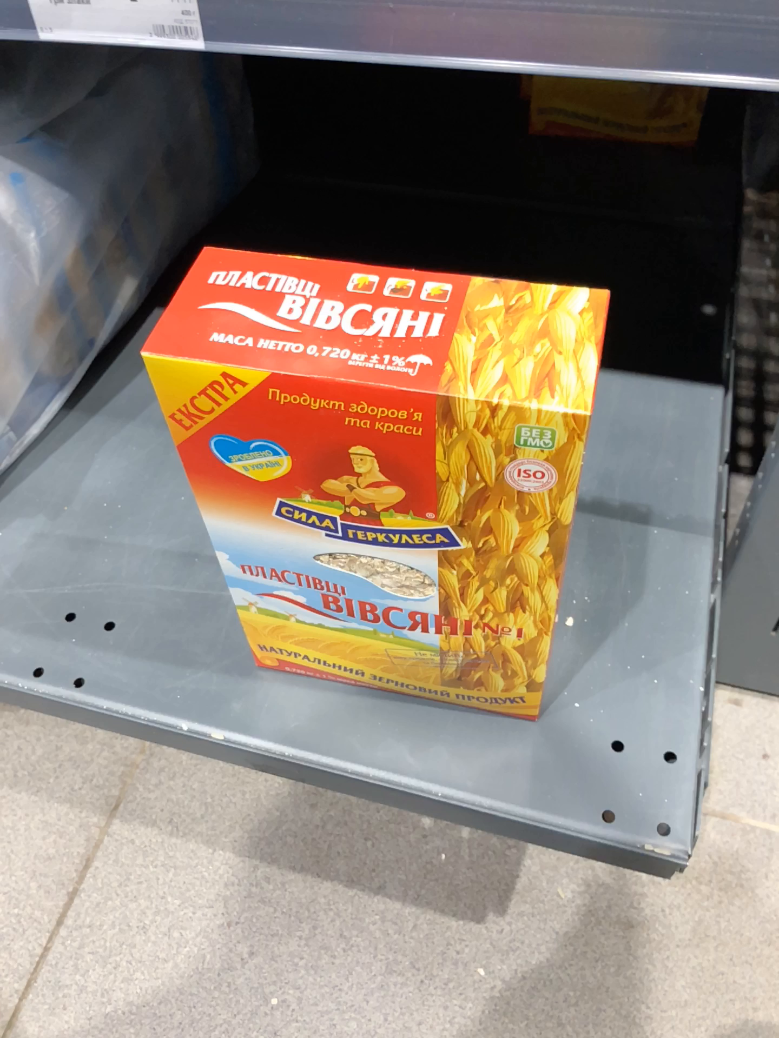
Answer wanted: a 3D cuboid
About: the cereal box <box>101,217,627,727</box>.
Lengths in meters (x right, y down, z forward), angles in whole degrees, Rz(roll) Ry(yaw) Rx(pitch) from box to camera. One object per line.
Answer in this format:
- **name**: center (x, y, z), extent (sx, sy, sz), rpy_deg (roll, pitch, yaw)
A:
- **cereal box**: center (-0.001, -0.007, 0.363), extent (0.160, 0.209, 0.070), rpy_deg (9, 52, 11)
